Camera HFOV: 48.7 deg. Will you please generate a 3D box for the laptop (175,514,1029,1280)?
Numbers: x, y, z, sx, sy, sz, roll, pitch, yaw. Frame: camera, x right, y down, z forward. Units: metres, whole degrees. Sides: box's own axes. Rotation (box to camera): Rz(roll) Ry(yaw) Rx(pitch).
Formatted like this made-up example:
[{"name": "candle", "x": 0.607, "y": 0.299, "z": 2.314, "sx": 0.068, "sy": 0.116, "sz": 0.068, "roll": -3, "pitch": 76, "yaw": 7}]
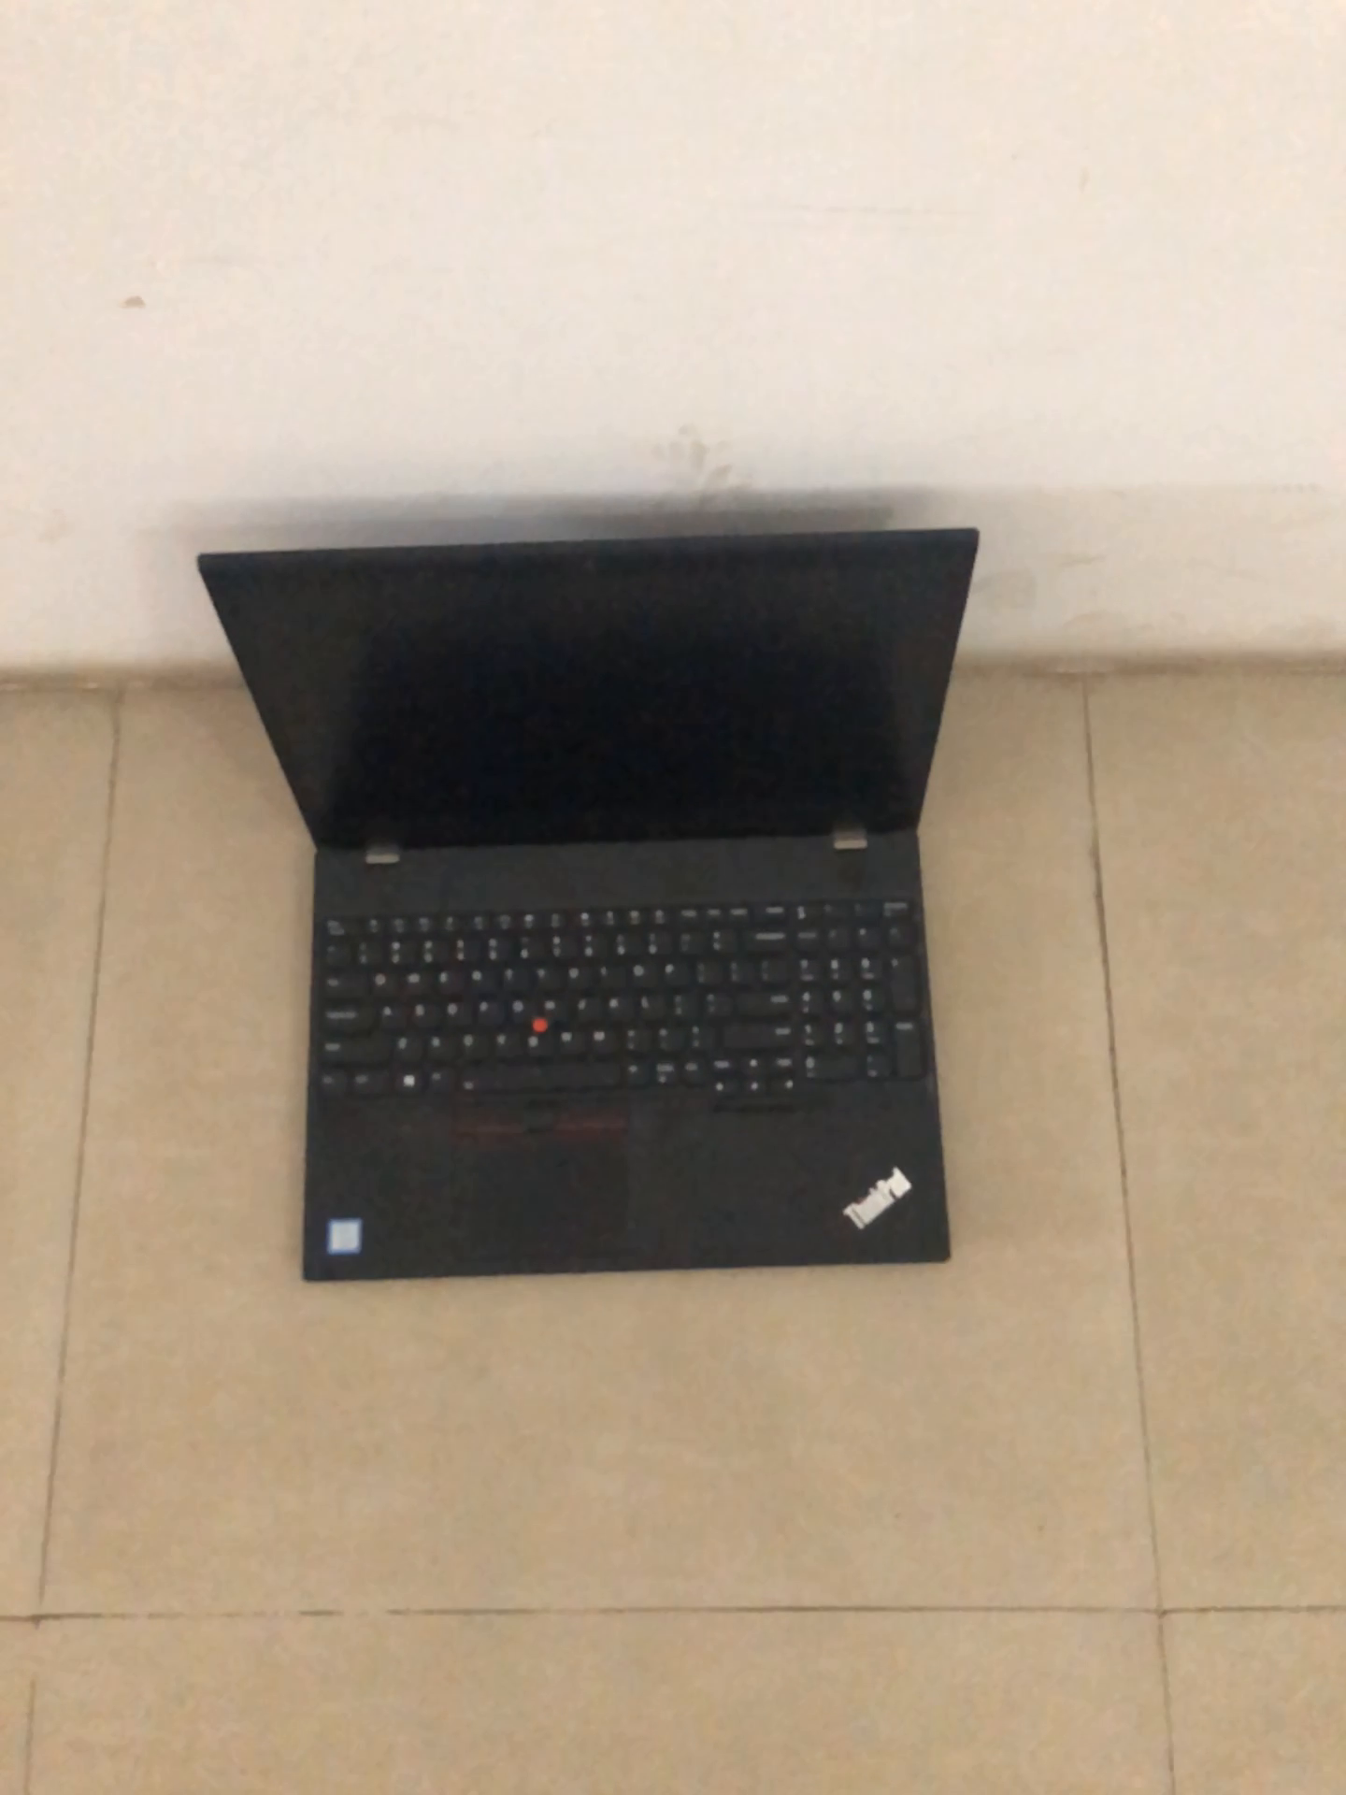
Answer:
[{"name": "laptop", "x": -0.034, "y": 0.018, "z": 0.750, "sx": 0.351, "sy": 0.216, "sz": 0.327, "roll": -2, "pitch": 77, "yaw": 0}]
